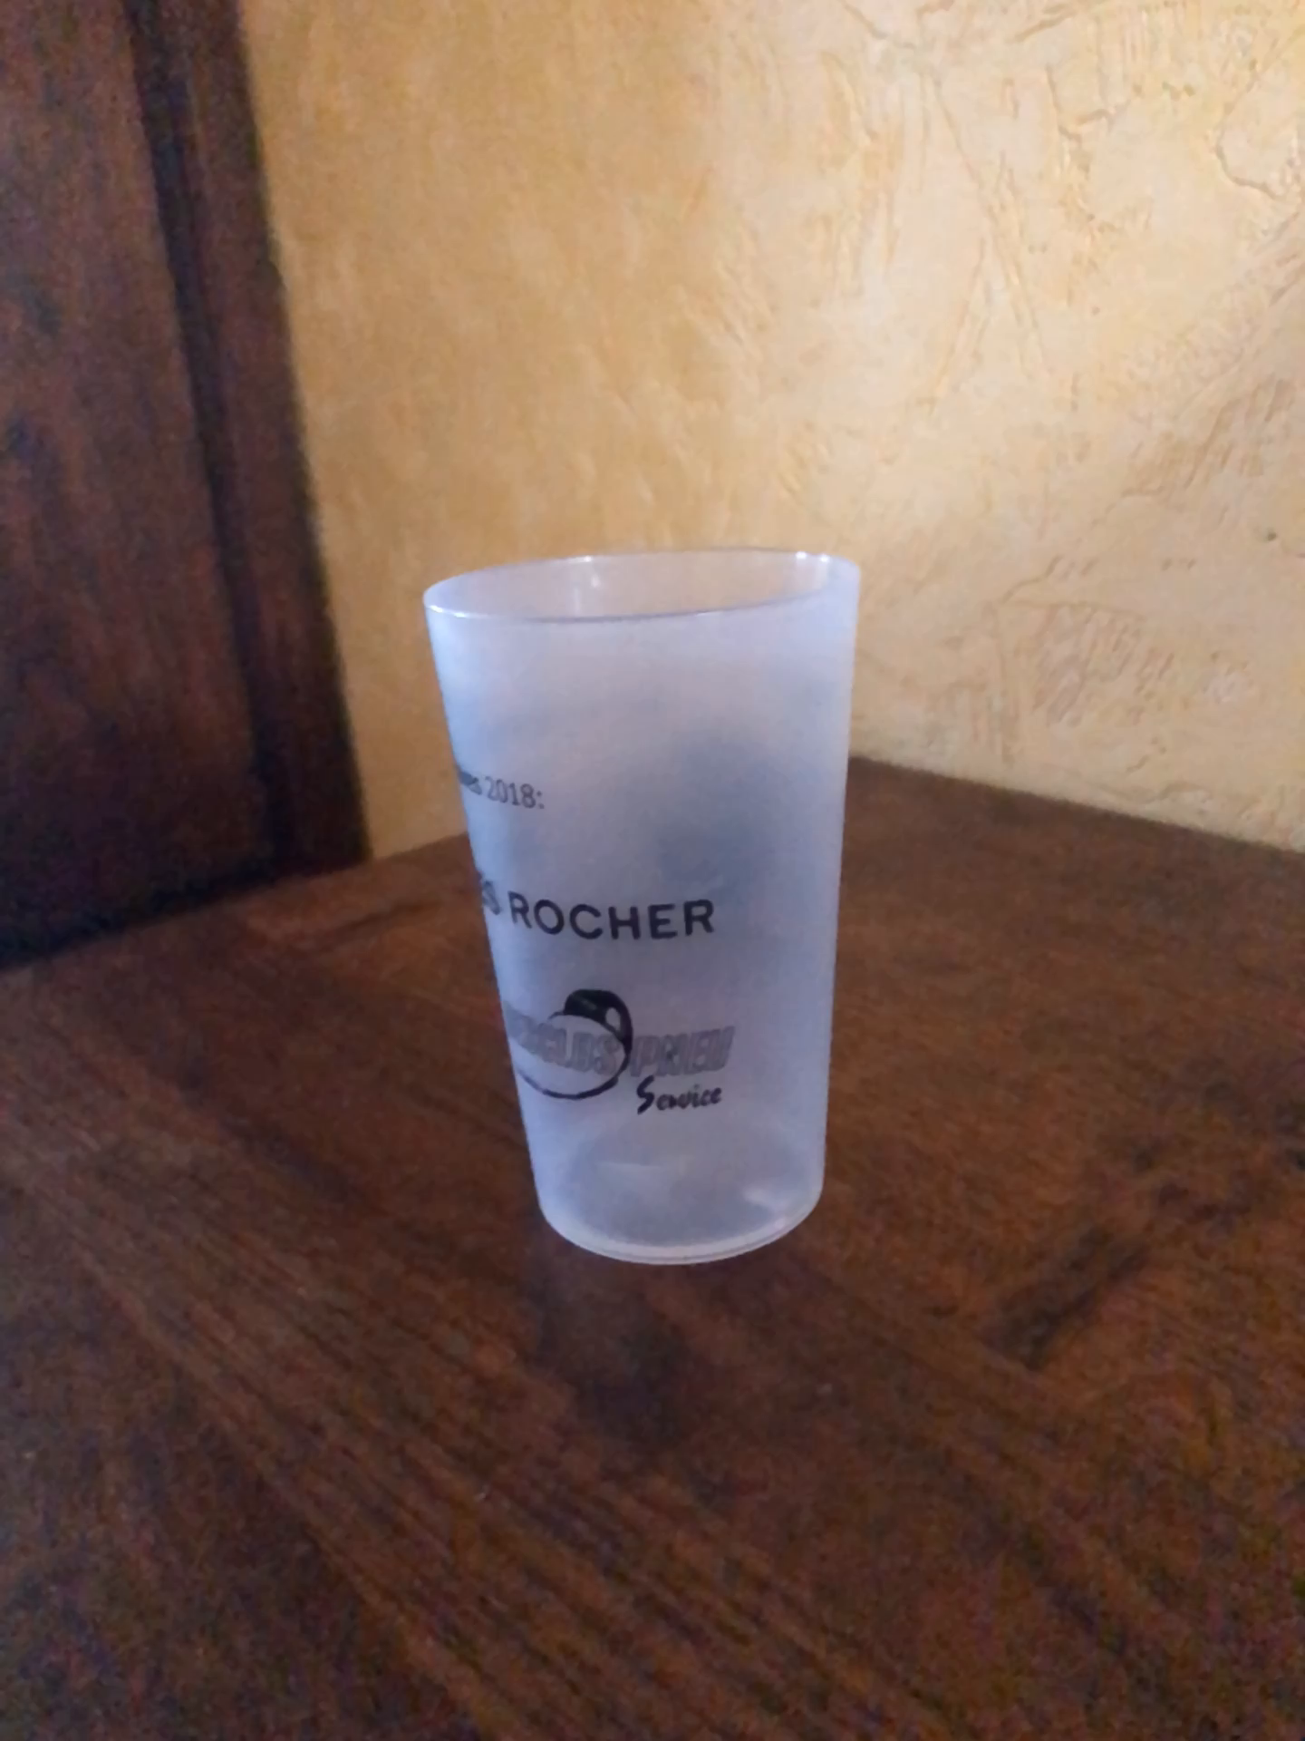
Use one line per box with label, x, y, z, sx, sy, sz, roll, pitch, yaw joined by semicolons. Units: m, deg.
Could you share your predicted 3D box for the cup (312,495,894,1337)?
cup;-0.007;0.001;0.255;0.070;0.119;0.070;-3;19;1
